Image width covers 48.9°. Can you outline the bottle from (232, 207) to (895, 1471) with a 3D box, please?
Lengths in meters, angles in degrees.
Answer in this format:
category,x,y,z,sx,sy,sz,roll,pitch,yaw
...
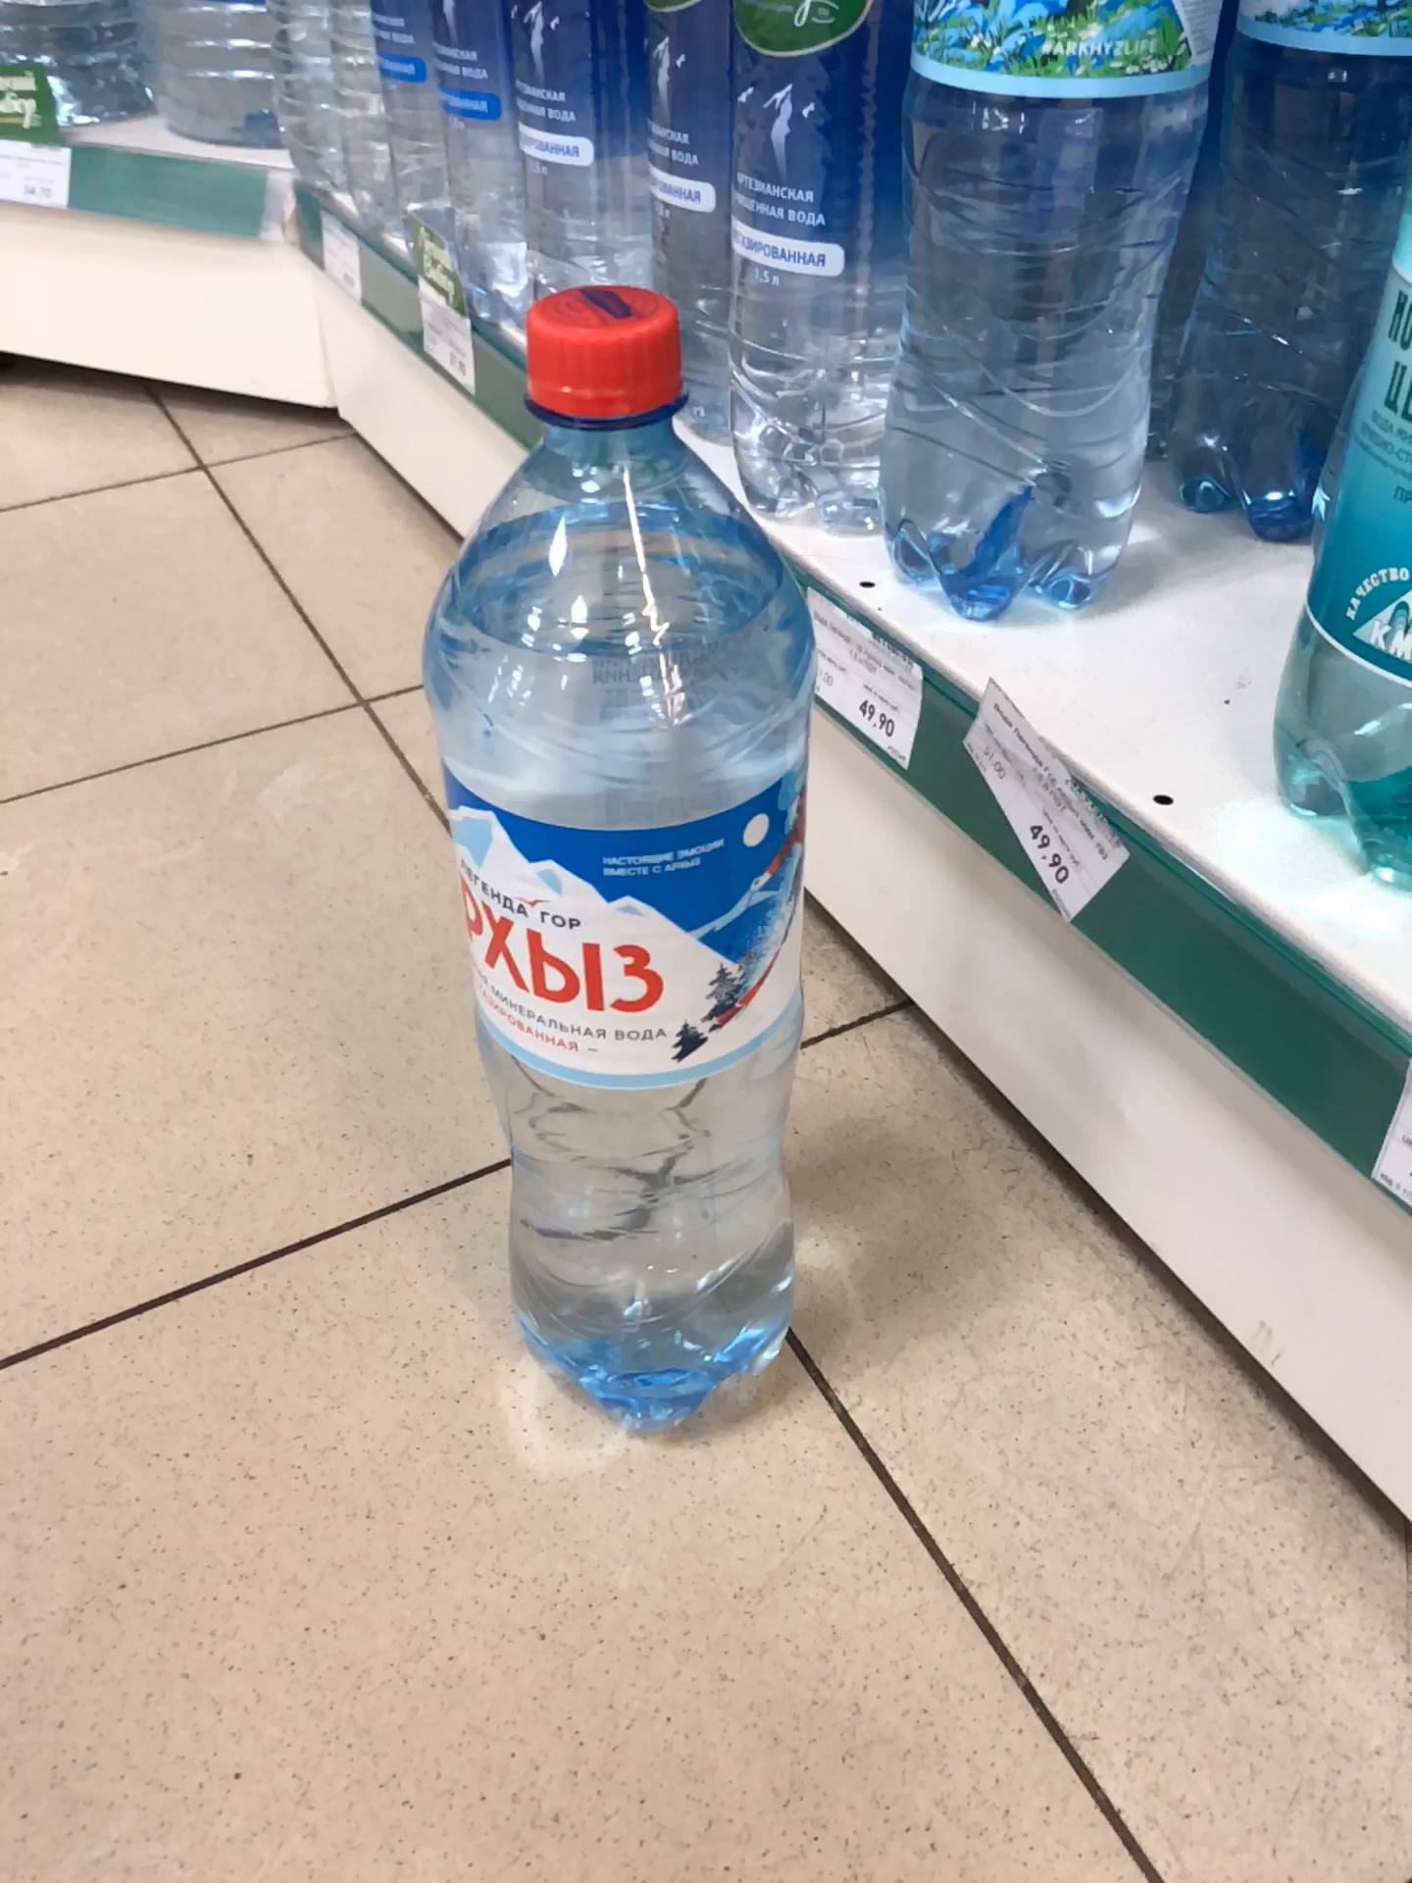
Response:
category,x,y,z,sx,sy,sz,roll,pitch,yaw
bottle,-0.023,-0.006,0.394,0.094,0.305,0.085,-1,40,1
